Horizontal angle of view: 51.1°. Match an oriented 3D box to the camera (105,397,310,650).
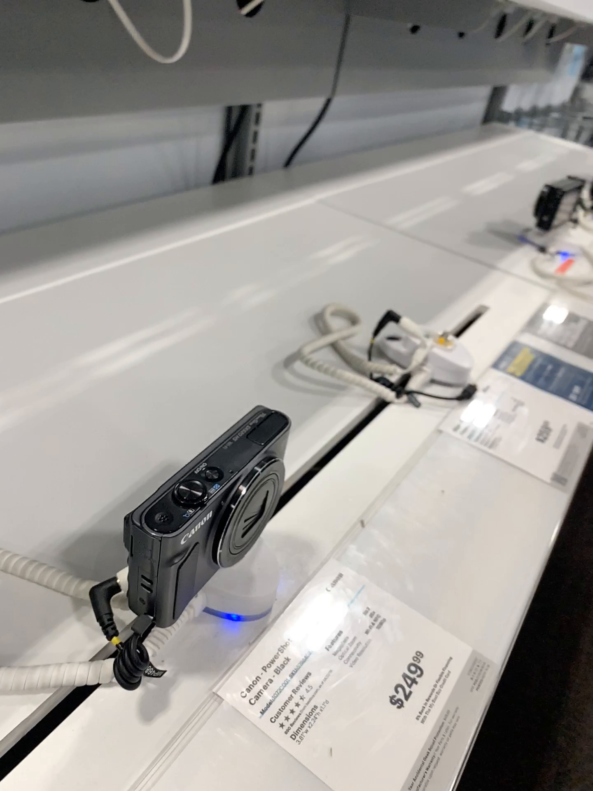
[{"bbox_3d":[-0.035,0.048,0.265,0.031,0.050,0.100,23,34,18],"label":"camera"}]
